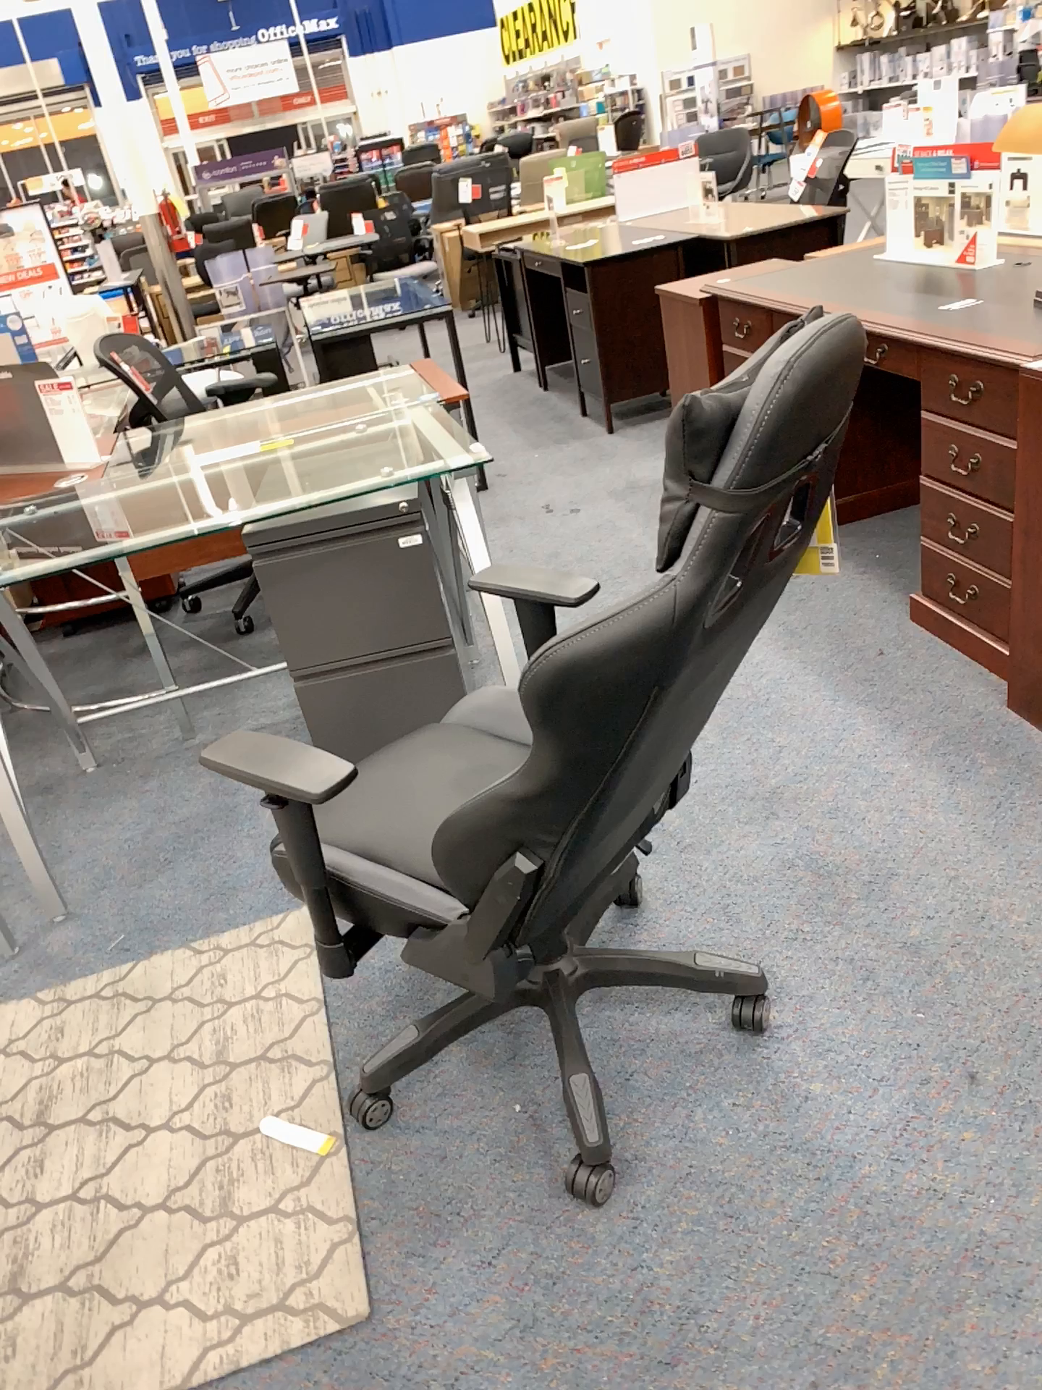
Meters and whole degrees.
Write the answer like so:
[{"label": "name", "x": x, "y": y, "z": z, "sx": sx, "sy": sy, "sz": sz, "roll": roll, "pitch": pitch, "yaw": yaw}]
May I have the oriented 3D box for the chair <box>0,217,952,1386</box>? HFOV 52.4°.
[{"label": "chair", "x": -0.001, "y": 0.043, "z": 1.442, "sx": 0.913, "sy": 1.061, "sz": 0.787, "roll": 9, "pitch": 34, "yaw": 34}]
